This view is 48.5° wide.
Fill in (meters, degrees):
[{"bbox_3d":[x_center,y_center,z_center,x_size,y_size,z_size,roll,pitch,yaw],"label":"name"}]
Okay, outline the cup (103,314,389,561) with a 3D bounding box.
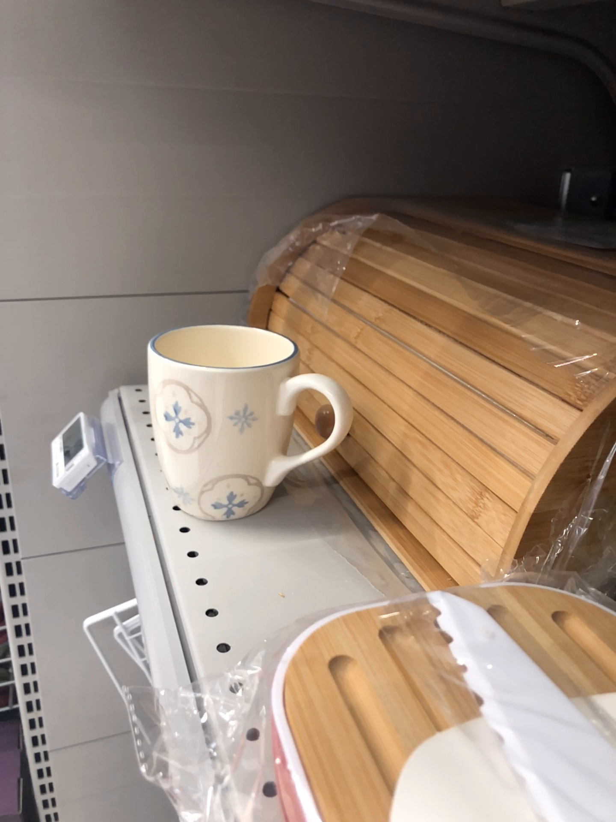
[{"bbox_3d":[-0.035,0.007,0.394,0.133,0.089,0.084,14,25,26],"label":"cup"}]
